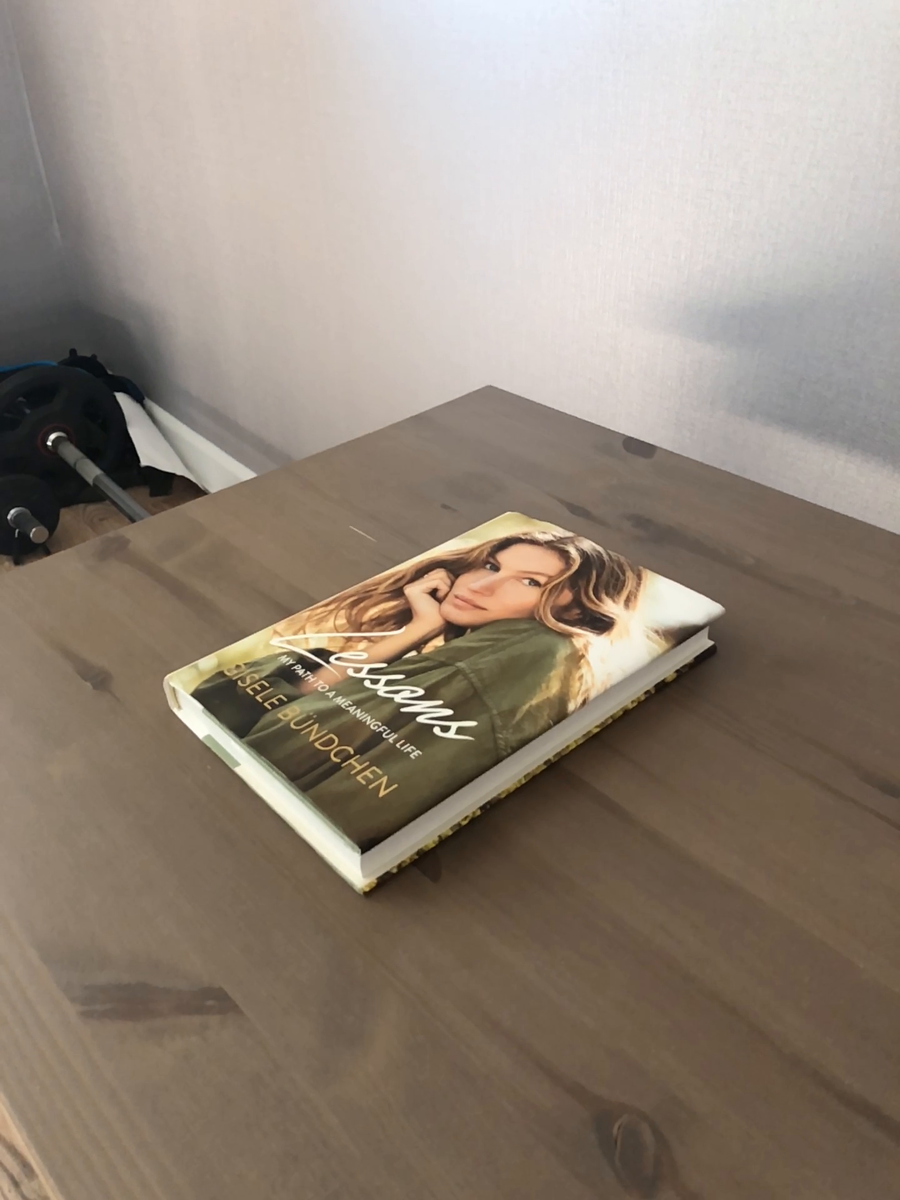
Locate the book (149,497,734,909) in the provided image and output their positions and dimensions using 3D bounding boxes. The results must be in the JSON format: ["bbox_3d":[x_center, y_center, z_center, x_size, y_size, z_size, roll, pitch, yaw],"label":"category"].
[{"bbox_3d":[0.000,0.028,0.478,0.228,0.030,0.160,-27,41,-33],"label":"book"}]
